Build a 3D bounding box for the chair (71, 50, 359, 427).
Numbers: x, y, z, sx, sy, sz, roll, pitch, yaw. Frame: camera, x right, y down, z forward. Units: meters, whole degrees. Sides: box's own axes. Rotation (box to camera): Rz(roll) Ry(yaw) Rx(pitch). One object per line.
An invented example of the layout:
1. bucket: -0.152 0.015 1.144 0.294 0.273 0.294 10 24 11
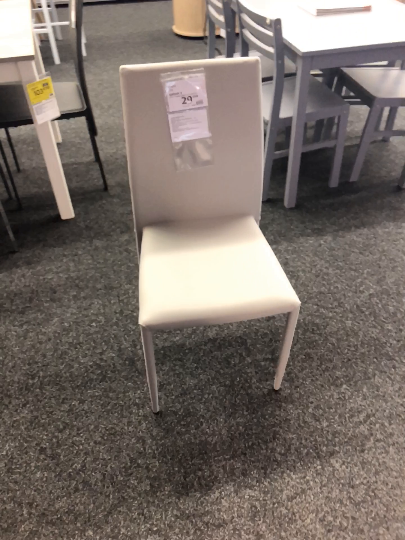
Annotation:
1. chair: -0.017 -0.068 1.226 0.501 0.815 0.542 -8 43 -8
